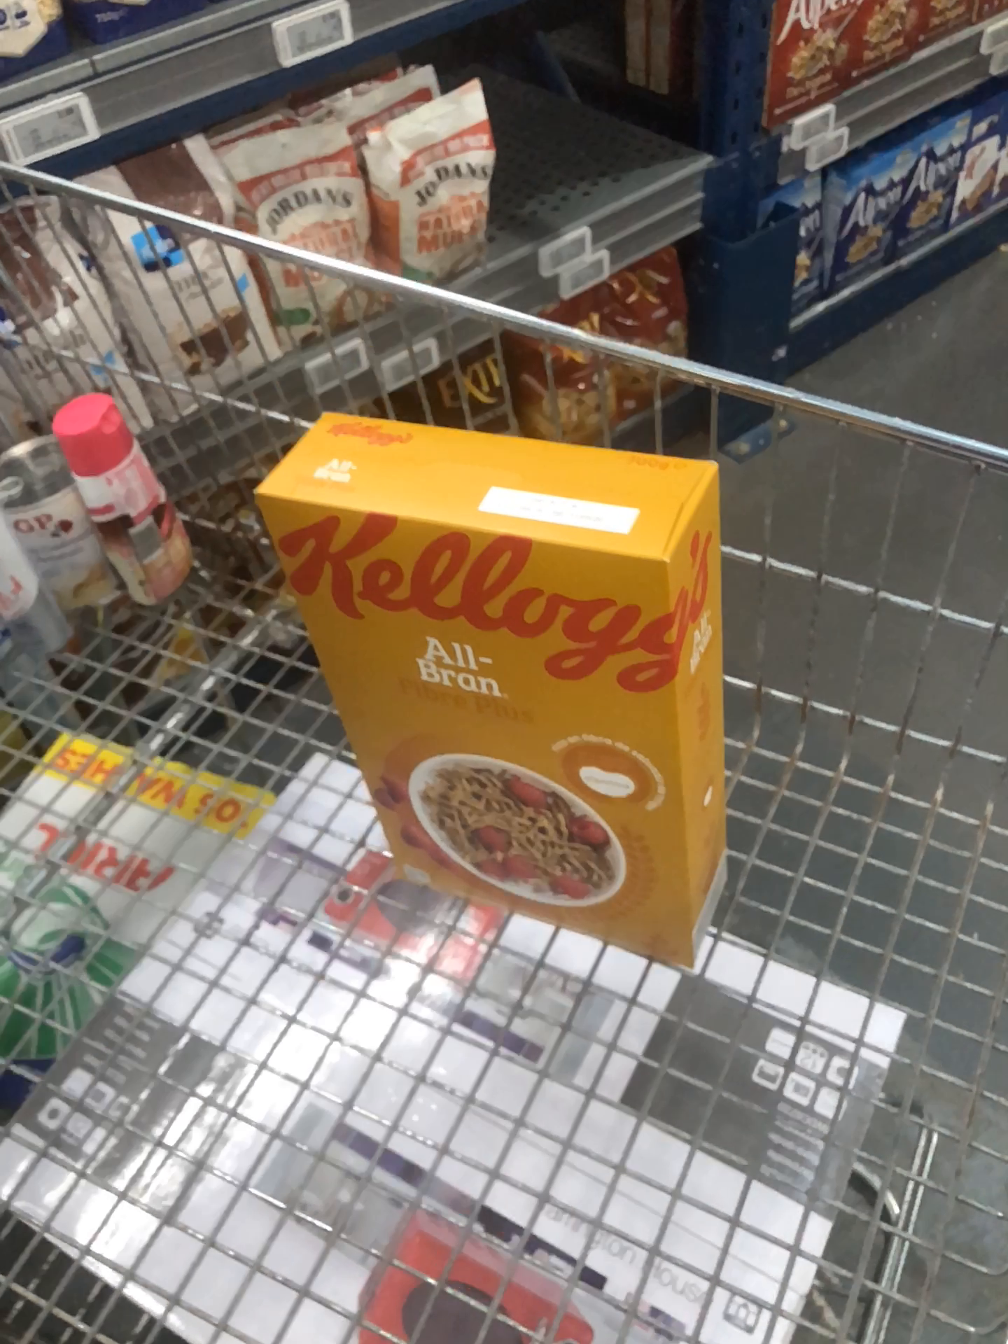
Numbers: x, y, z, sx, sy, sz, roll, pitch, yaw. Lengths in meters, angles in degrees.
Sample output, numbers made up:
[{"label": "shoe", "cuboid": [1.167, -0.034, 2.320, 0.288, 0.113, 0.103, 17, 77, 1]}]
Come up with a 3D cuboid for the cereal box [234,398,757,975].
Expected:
[{"label": "cereal box", "cuboid": [0.015, 0.018, 0.556, 0.200, 0.289, 0.070, 12, 50, 24]}]
